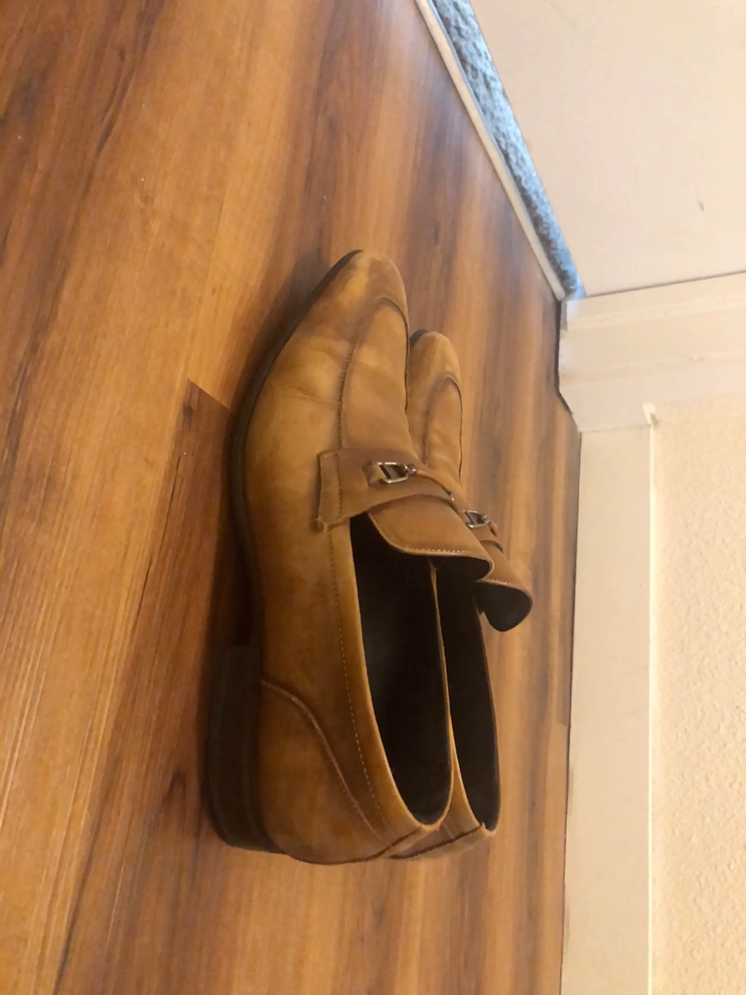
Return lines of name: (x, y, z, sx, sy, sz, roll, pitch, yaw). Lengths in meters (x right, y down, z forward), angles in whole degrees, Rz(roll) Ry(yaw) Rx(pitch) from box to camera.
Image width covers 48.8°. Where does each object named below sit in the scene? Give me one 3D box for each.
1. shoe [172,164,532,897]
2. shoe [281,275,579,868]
shoe: (0.004, 0.013, 0.403, 0.107, 0.111, 0.308, 34, 57, -57)
shoe: (0.046, 0.040, 0.479, 0.107, 0.111, 0.308, 40, 51, -54)
